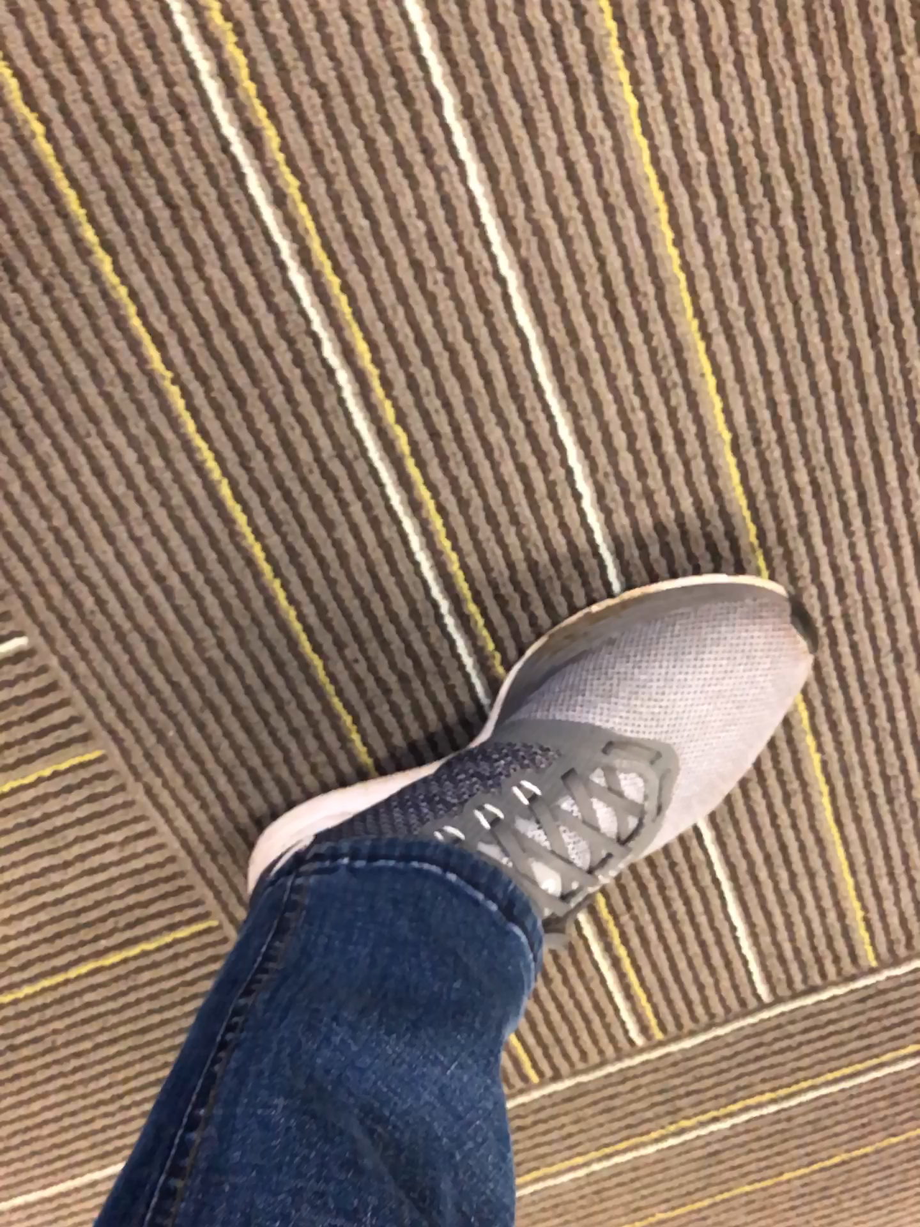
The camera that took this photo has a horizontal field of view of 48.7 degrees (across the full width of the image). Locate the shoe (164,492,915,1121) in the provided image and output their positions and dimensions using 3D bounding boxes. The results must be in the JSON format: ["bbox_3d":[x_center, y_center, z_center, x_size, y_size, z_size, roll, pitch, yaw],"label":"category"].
[{"bbox_3d":[0.034,0.086,0.447,0.300,0.060,0.120,-34,114,3],"label":"shoe"}]
